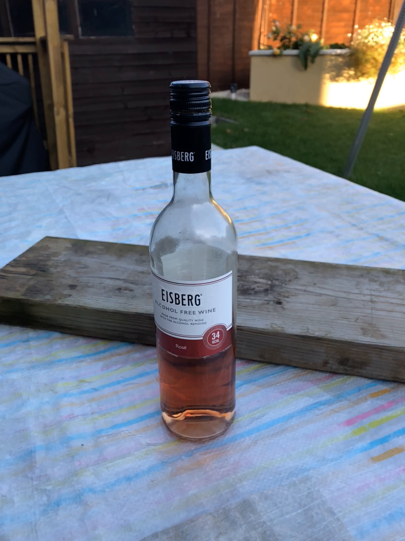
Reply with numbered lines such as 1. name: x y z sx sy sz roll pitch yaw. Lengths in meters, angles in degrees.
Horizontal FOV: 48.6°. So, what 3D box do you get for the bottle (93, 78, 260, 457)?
1. bottle: -0.010 0.005 0.360 0.090 0.288 0.081 6 27 15
